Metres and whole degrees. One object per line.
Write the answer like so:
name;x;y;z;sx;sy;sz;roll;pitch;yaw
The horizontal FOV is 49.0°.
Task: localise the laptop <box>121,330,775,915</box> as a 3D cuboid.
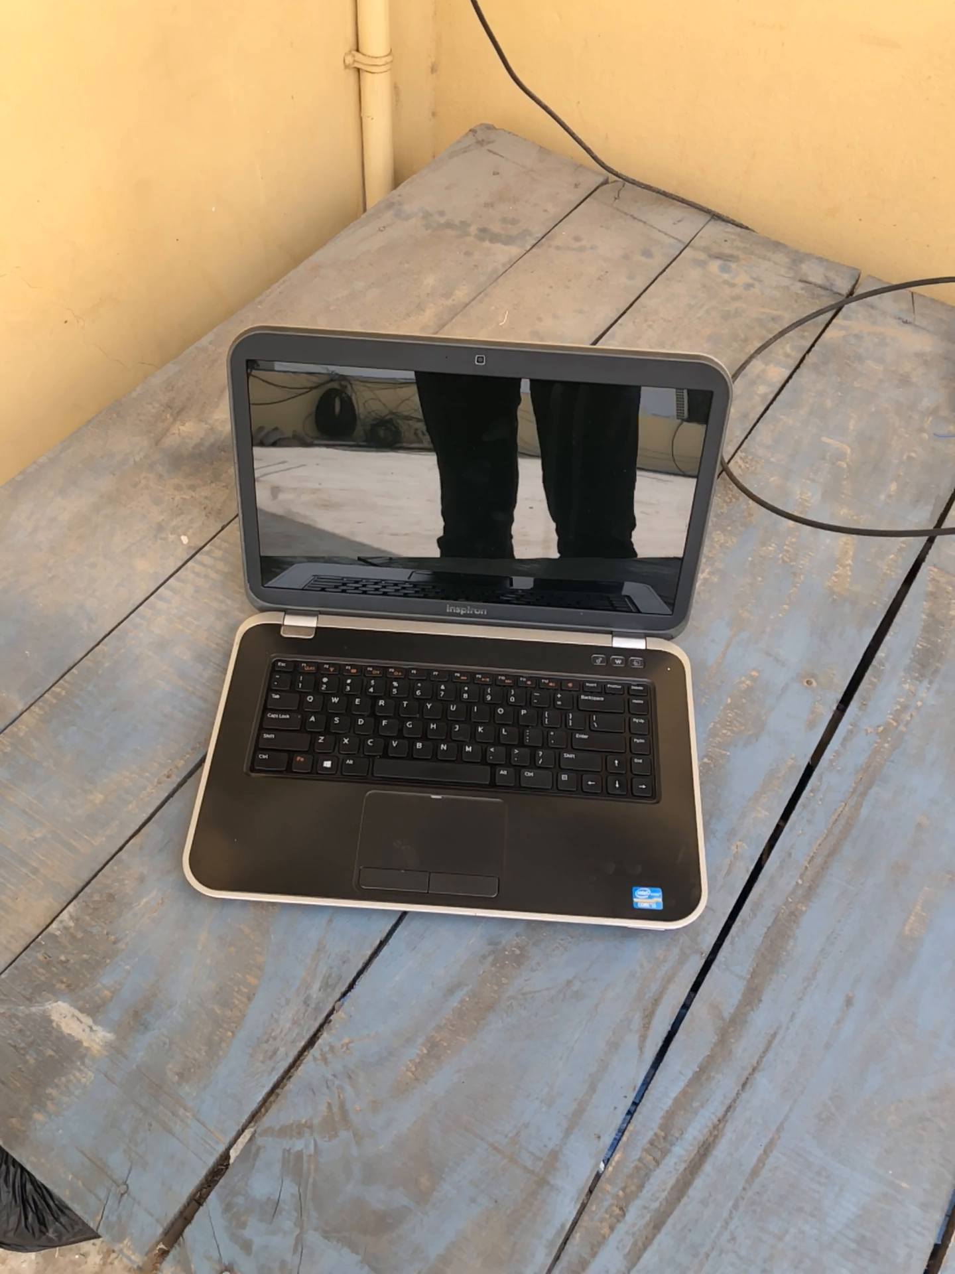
laptop;-0.011;-0.016;0.744;0.352;0.209;0.334;3;54;1
